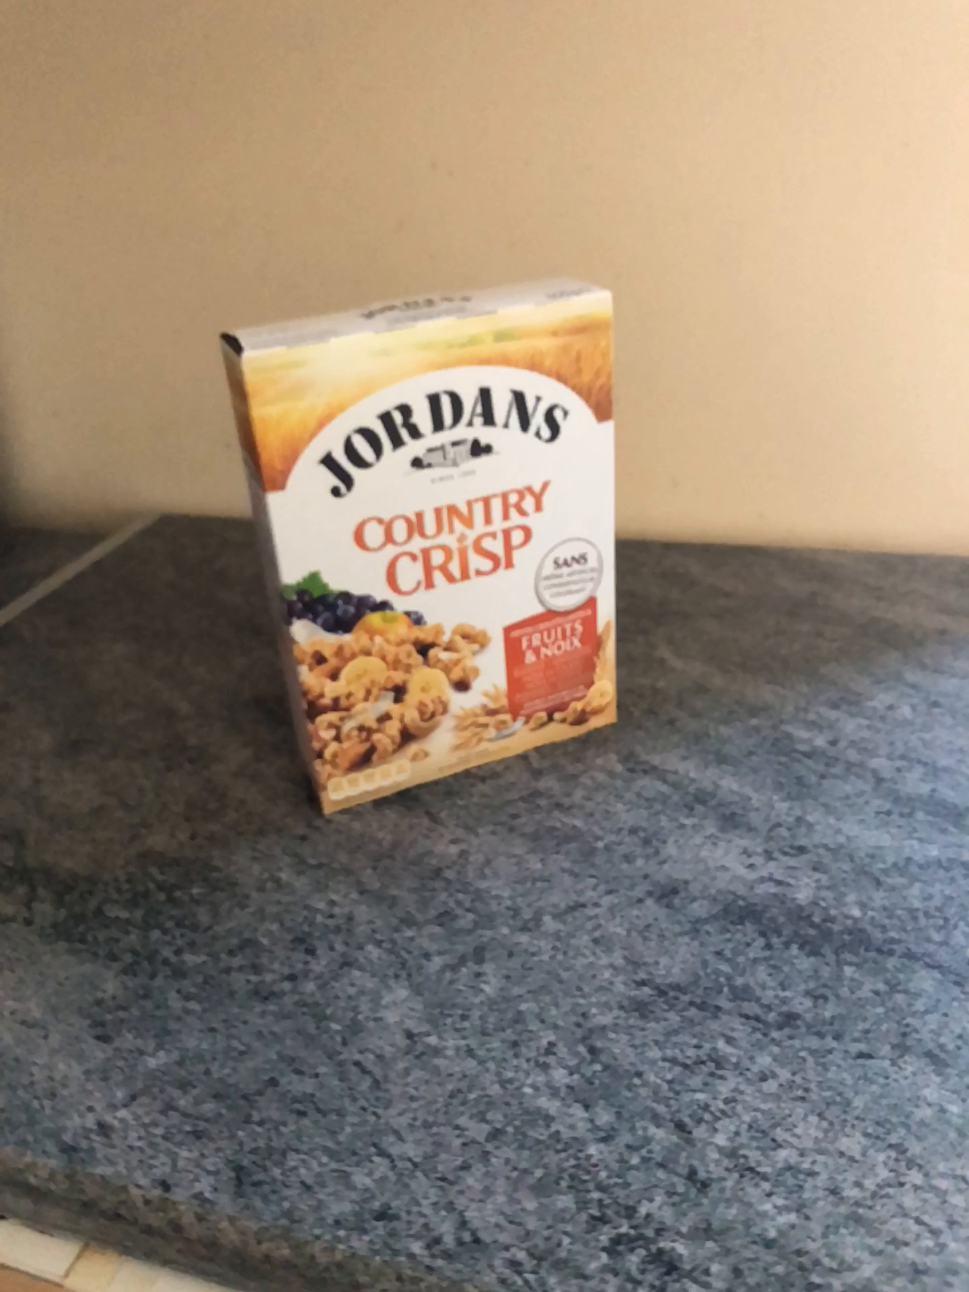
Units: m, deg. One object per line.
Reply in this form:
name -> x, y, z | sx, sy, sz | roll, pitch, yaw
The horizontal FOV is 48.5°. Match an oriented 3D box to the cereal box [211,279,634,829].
cereal box -> -0.022, -0.048, 0.565 | 0.190, 0.249, 0.060 | -14, 31, -21
